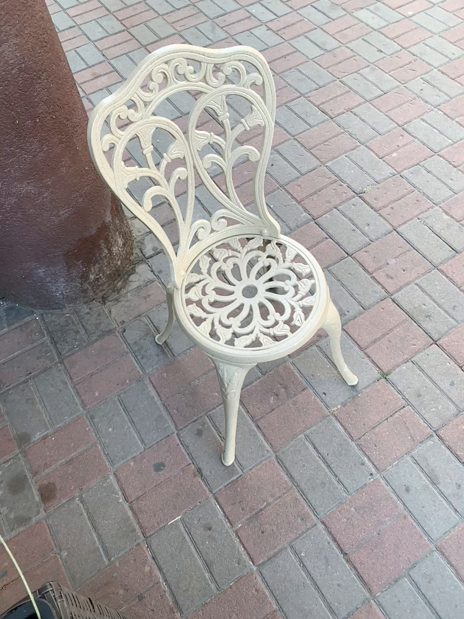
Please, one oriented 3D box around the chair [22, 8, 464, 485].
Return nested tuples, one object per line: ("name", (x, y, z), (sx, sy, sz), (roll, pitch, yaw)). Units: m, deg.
("chair", (0.012, -0.068, 1.067), (0.480, 0.798, 0.551), (-29, 60, -13))
